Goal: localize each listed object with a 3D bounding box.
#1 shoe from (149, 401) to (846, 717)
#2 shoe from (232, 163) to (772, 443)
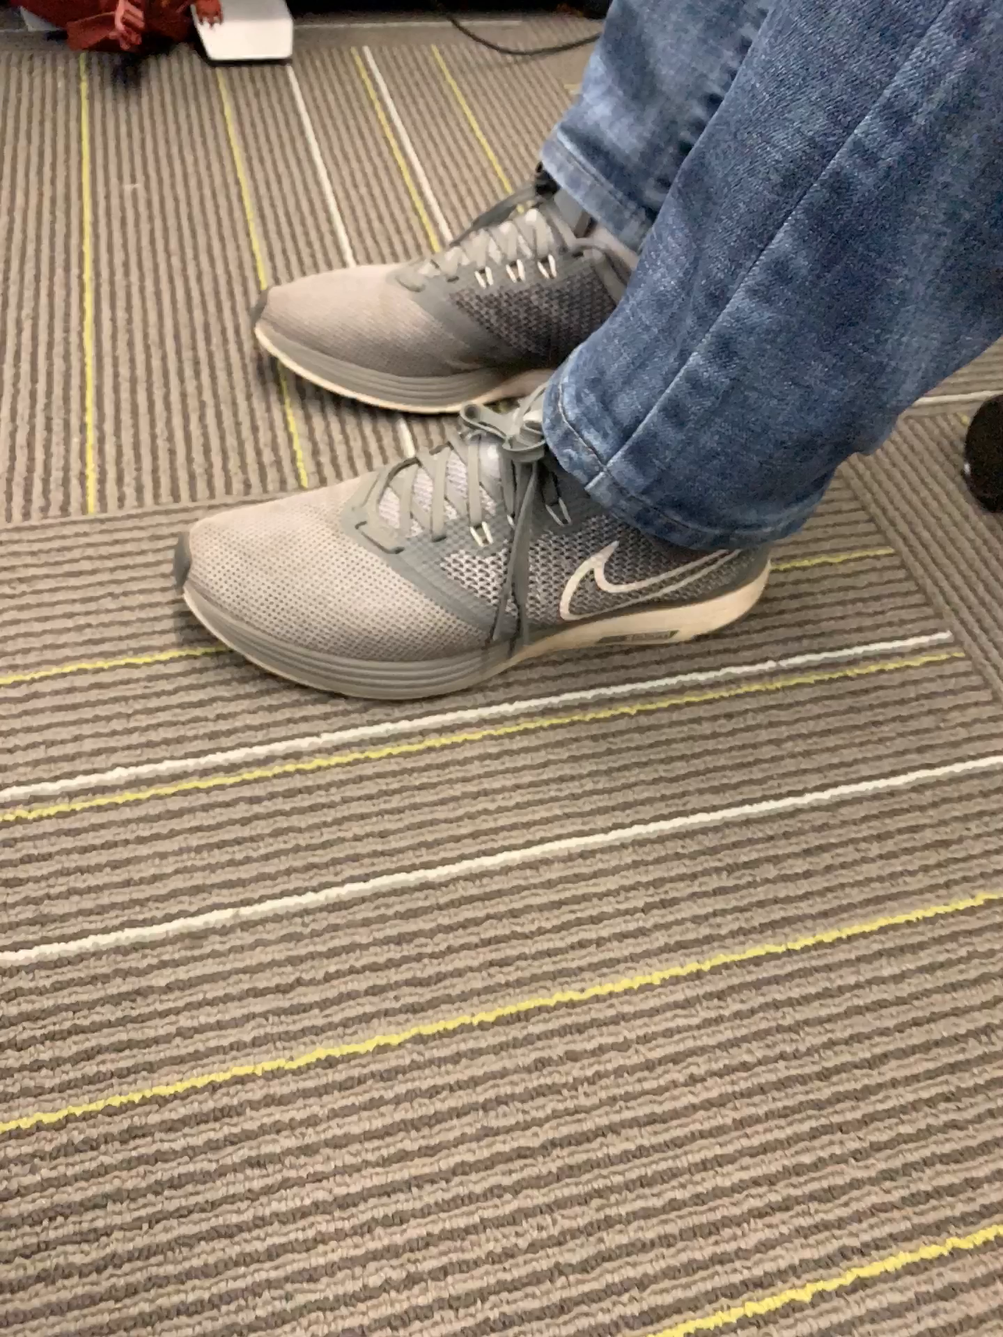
[{"bbox_3d":[-0.005,-0.056,0.492,0.286,0.078,0.125,-2,50,-7],"label":"shoe"},{"bbox_3d":[0.001,-0.218,0.616,0.283,0.078,0.133,4,50,-2],"label":"shoe"}]
